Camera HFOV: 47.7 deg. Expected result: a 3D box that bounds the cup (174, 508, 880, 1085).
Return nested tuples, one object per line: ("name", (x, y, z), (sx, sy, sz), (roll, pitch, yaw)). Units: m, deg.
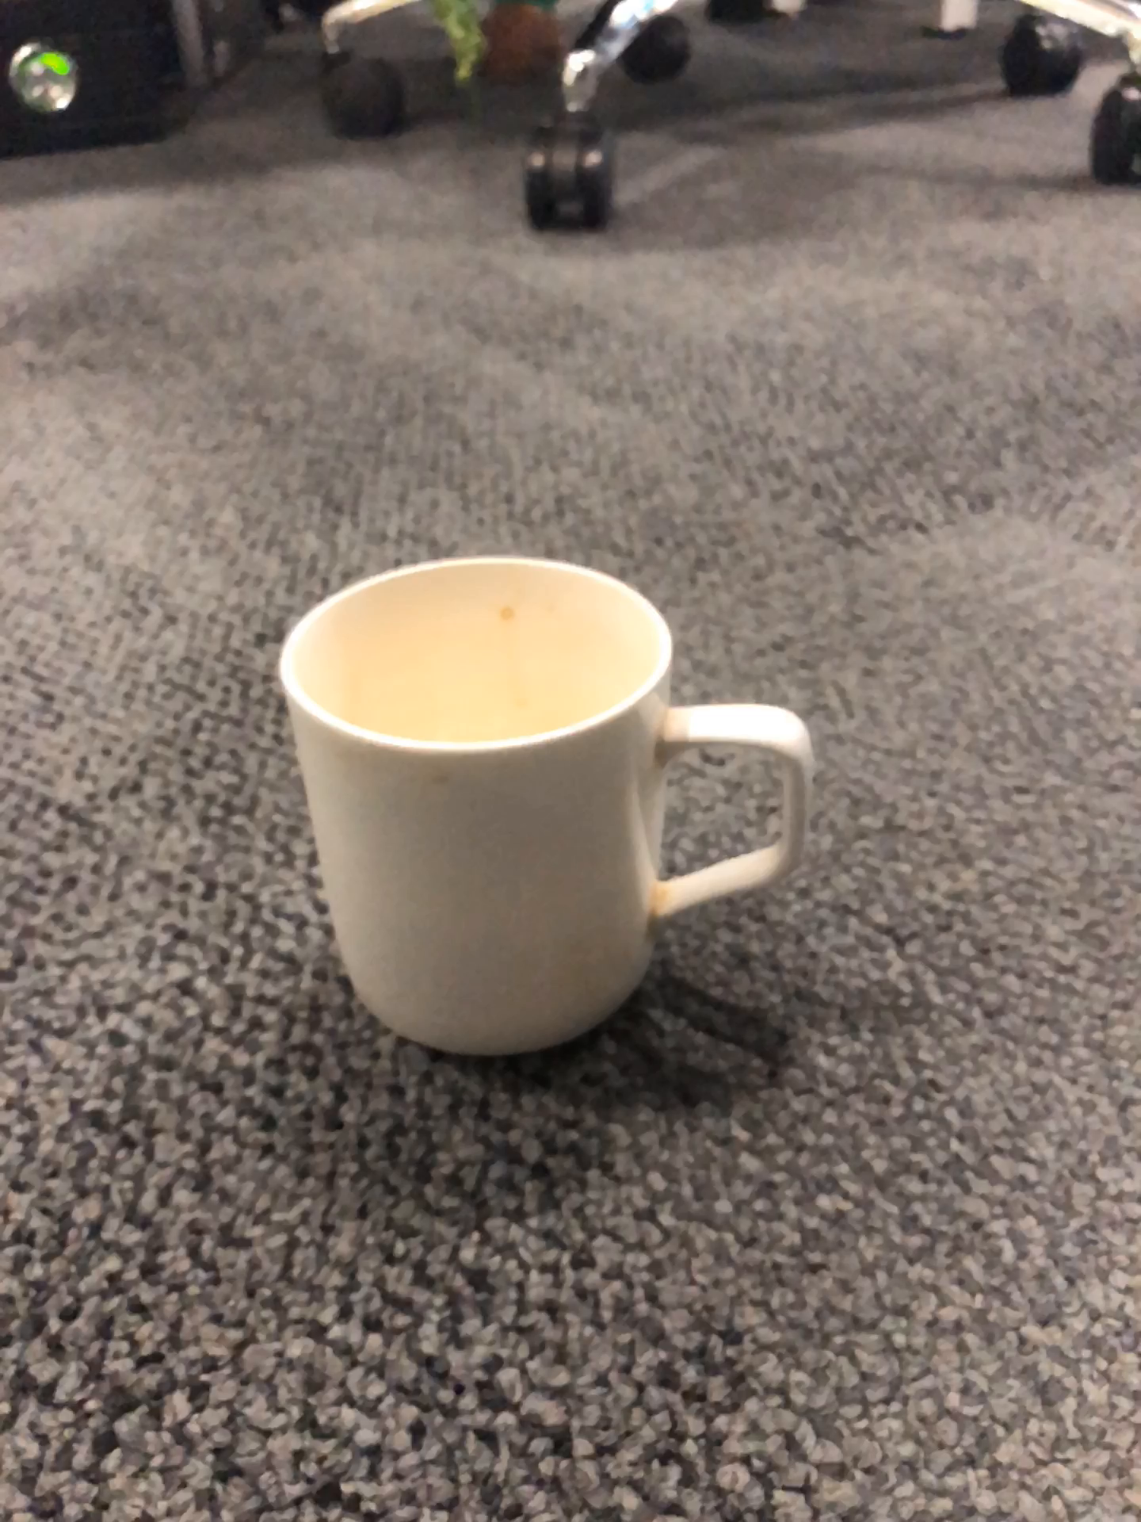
("cup", (-0.002, 0.003, 0.229), (0.100, 0.070, 0.070), (2, 35, 7))
